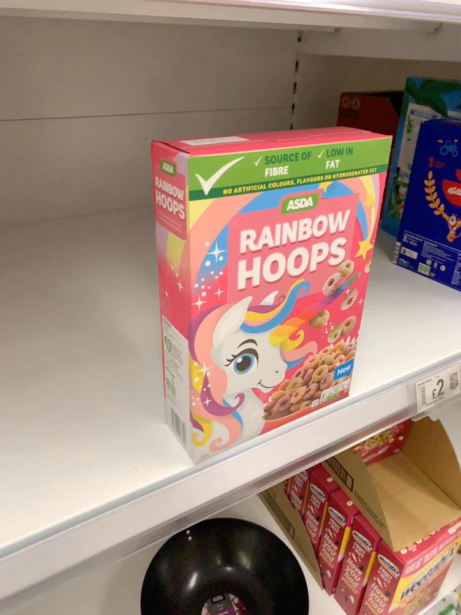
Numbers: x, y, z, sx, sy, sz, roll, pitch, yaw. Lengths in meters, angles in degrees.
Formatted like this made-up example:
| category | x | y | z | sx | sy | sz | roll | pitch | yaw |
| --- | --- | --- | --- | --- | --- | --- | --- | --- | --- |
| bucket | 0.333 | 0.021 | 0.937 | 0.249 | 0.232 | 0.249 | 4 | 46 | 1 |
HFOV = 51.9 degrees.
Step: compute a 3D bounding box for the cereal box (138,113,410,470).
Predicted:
| category | x | y | z | sx | sy | sz | roll | pitch | yaw |
| --- | --- | --- | --- | --- | --- | --- | --- | --- | --- |
| cereal box | 0.036 | -0.017 | 0.424 | 0.211 | 0.277 | 0.060 | -15 | 33 | -29 |
